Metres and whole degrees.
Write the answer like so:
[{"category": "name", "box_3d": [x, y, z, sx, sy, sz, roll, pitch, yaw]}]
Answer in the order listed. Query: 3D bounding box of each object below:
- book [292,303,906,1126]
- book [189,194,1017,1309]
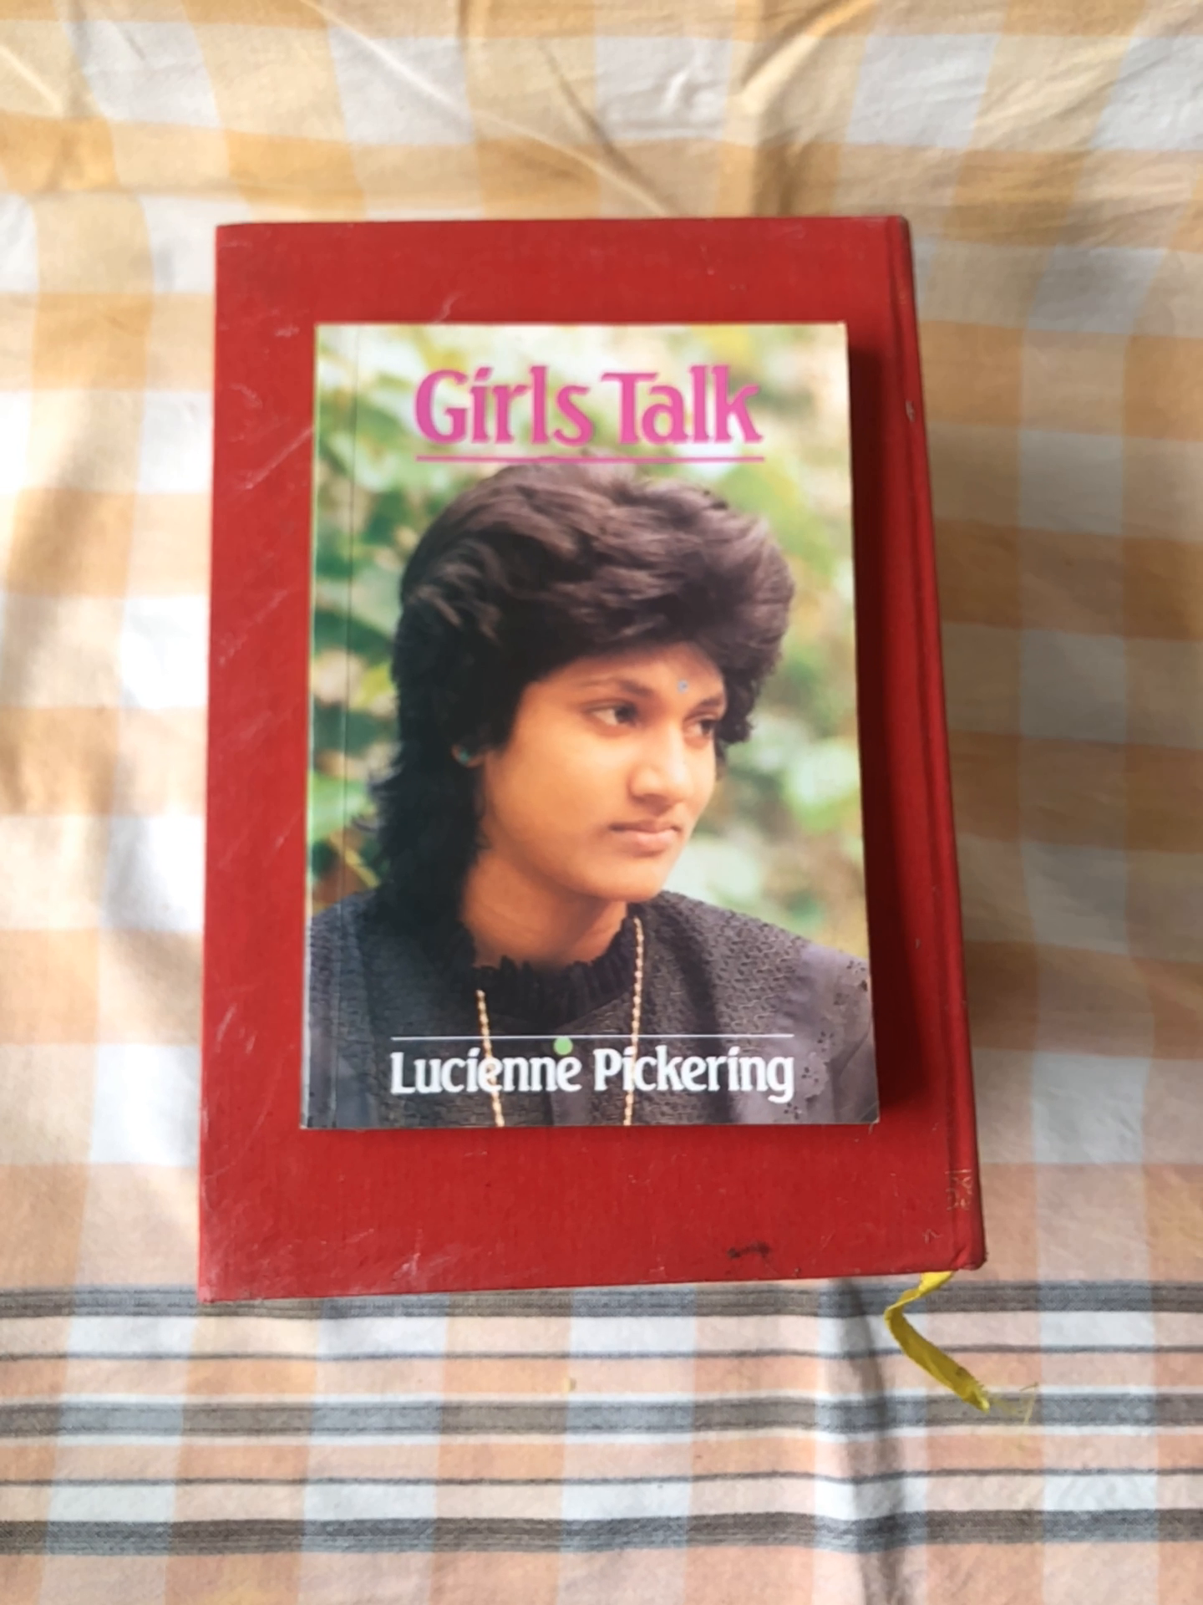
[{"category": "book", "box_3d": [-0.002, -0.022, 0.310, 0.130, 0.025, 0.182, -1, 83, -1]}, {"category": "book", "box_3d": [-0.004, -0.018, 0.318, 0.174, 0.031, 0.249, -2, 81, -1]}]
